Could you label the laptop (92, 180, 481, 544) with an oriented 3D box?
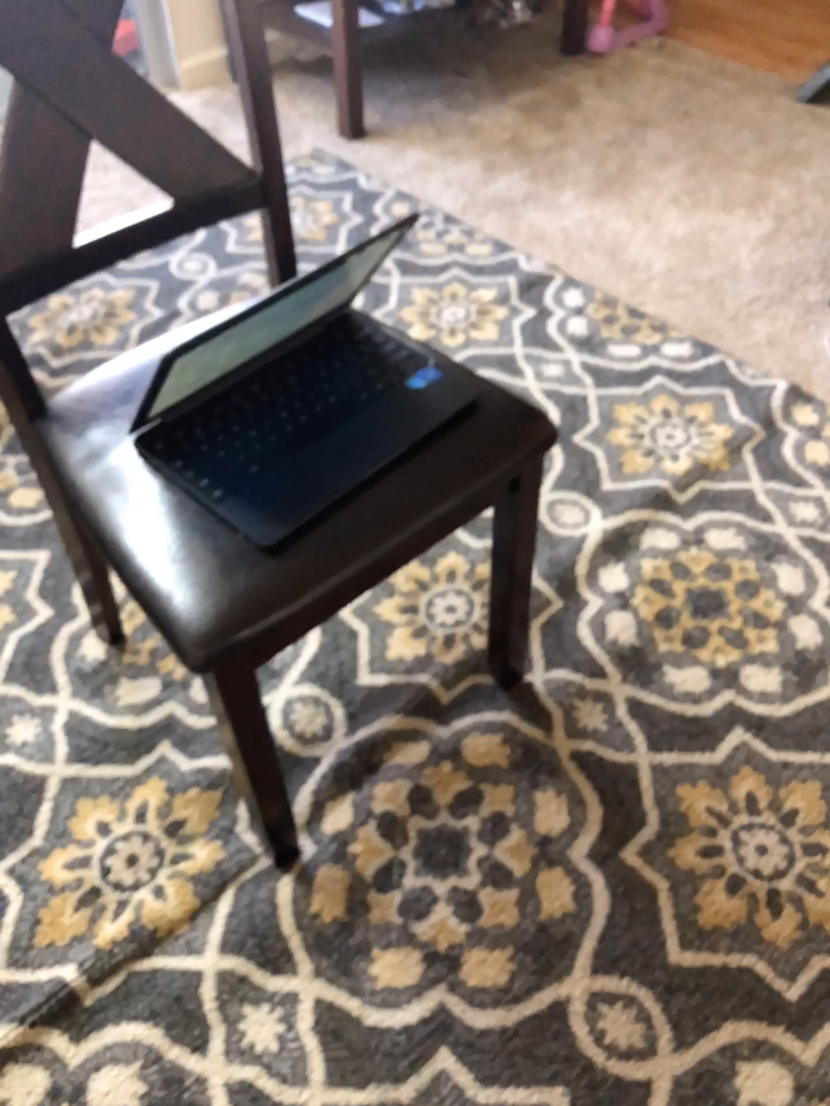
[{"bbox_3d":[-0.102,-0.181,0.828,0.192,0.155,0.263,35,57,28],"label":"laptop"}]
